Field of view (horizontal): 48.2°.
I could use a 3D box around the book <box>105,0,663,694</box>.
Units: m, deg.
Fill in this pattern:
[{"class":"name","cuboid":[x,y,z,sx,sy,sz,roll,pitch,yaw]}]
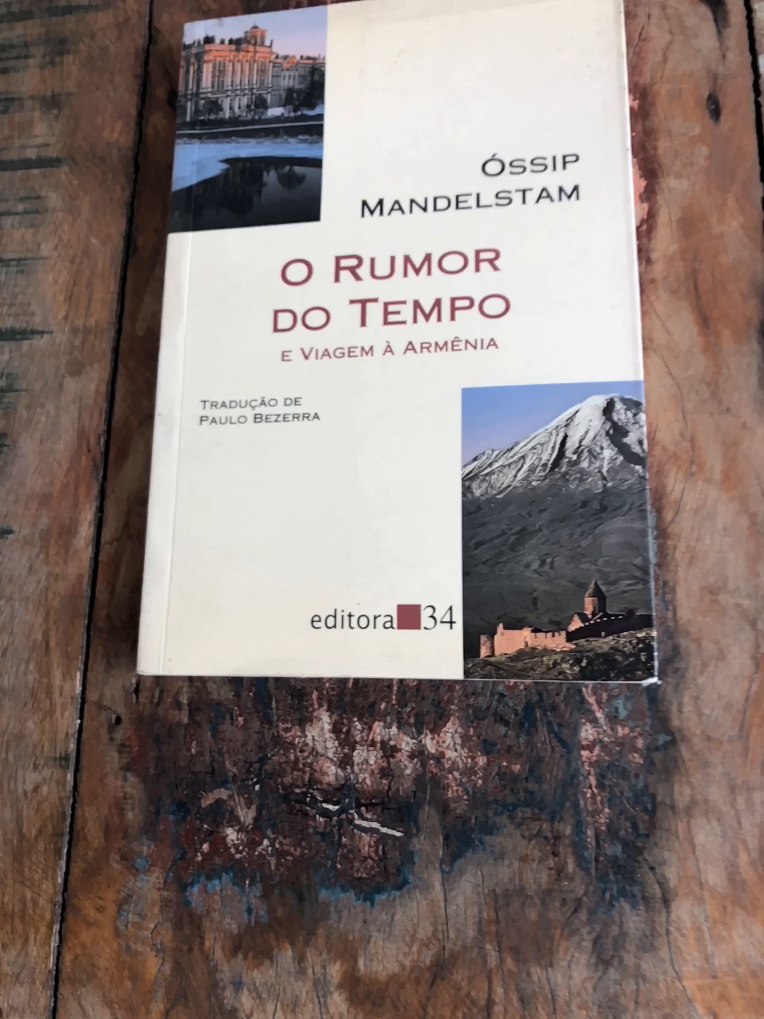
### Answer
[{"class":"book","cuboid":[0.001,-0.057,0.242,0.140,0.022,0.207,0,79,11]}]
